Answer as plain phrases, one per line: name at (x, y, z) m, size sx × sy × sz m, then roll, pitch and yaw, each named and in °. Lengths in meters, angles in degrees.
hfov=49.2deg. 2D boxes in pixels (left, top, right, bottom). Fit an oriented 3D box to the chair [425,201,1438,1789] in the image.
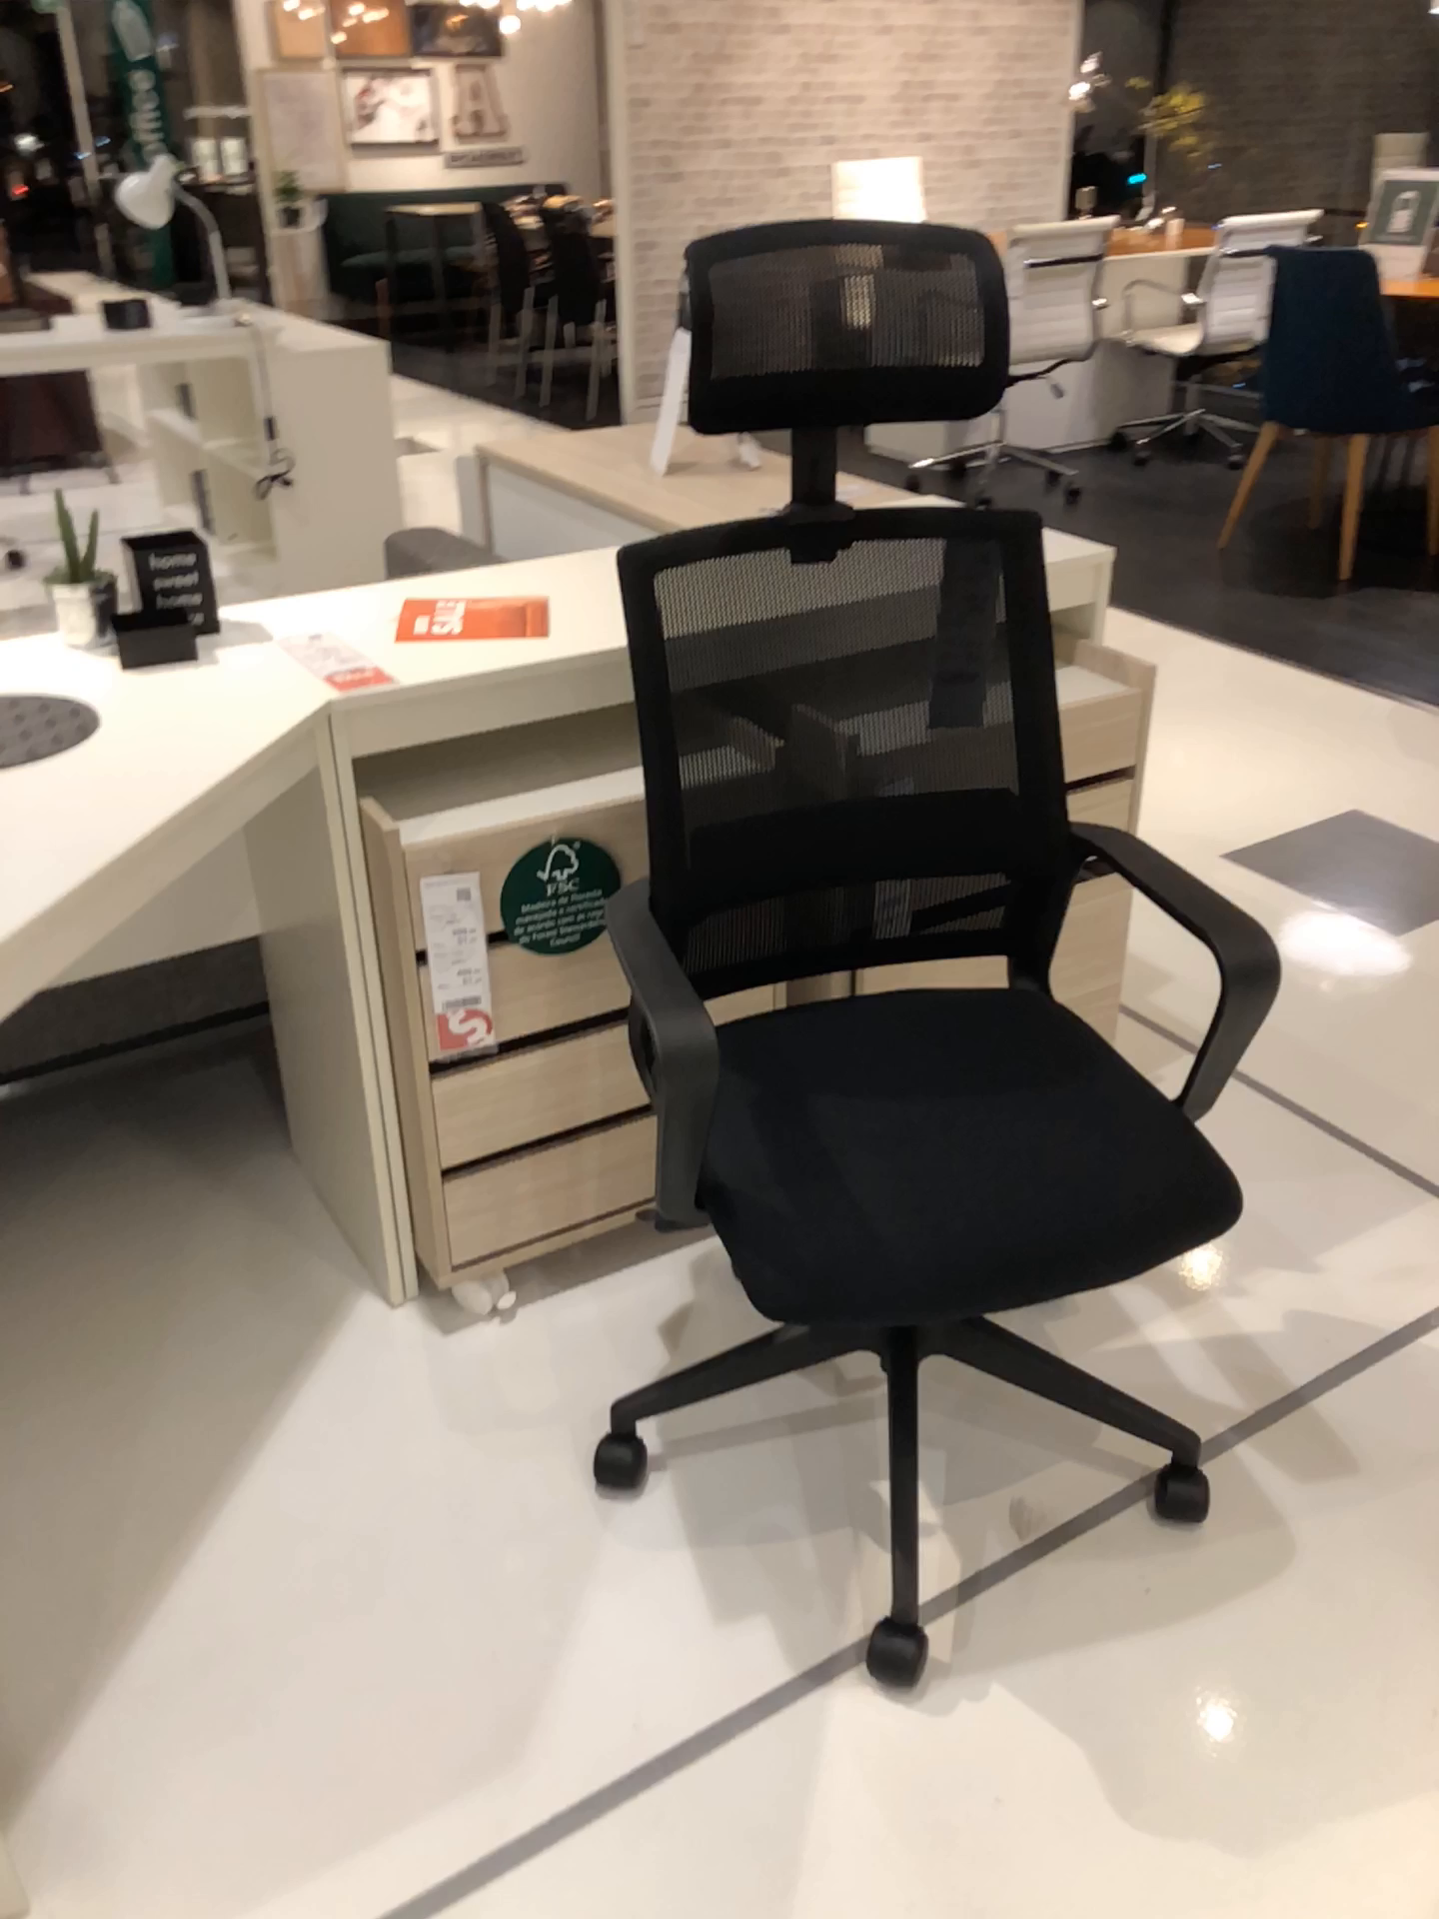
chair at (0.178, -0.021, 1.397) m, size 0.661 × 1.132 × 0.664 m, roll -10°, pitch 29°, yaw -15°
